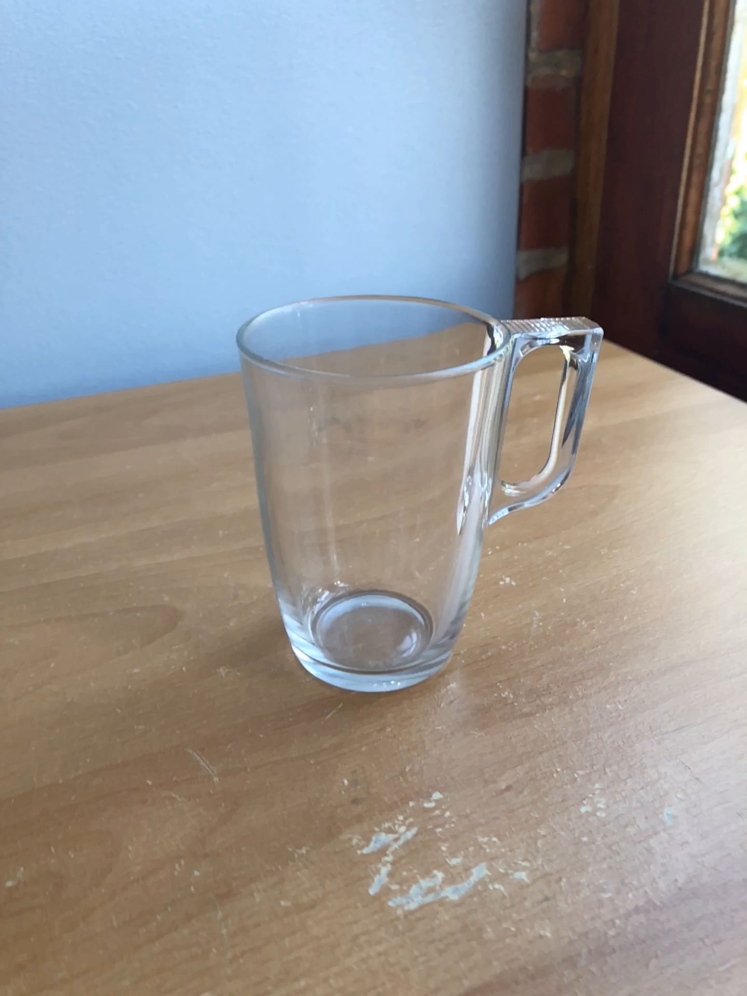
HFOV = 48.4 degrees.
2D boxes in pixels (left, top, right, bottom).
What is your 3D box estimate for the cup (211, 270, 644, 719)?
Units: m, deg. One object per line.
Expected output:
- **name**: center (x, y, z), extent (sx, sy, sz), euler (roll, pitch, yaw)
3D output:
- **cup**: center (0.011, -0.005, 0.253), extent (0.103, 0.103, 0.078), euler (-5, 28, -6)
